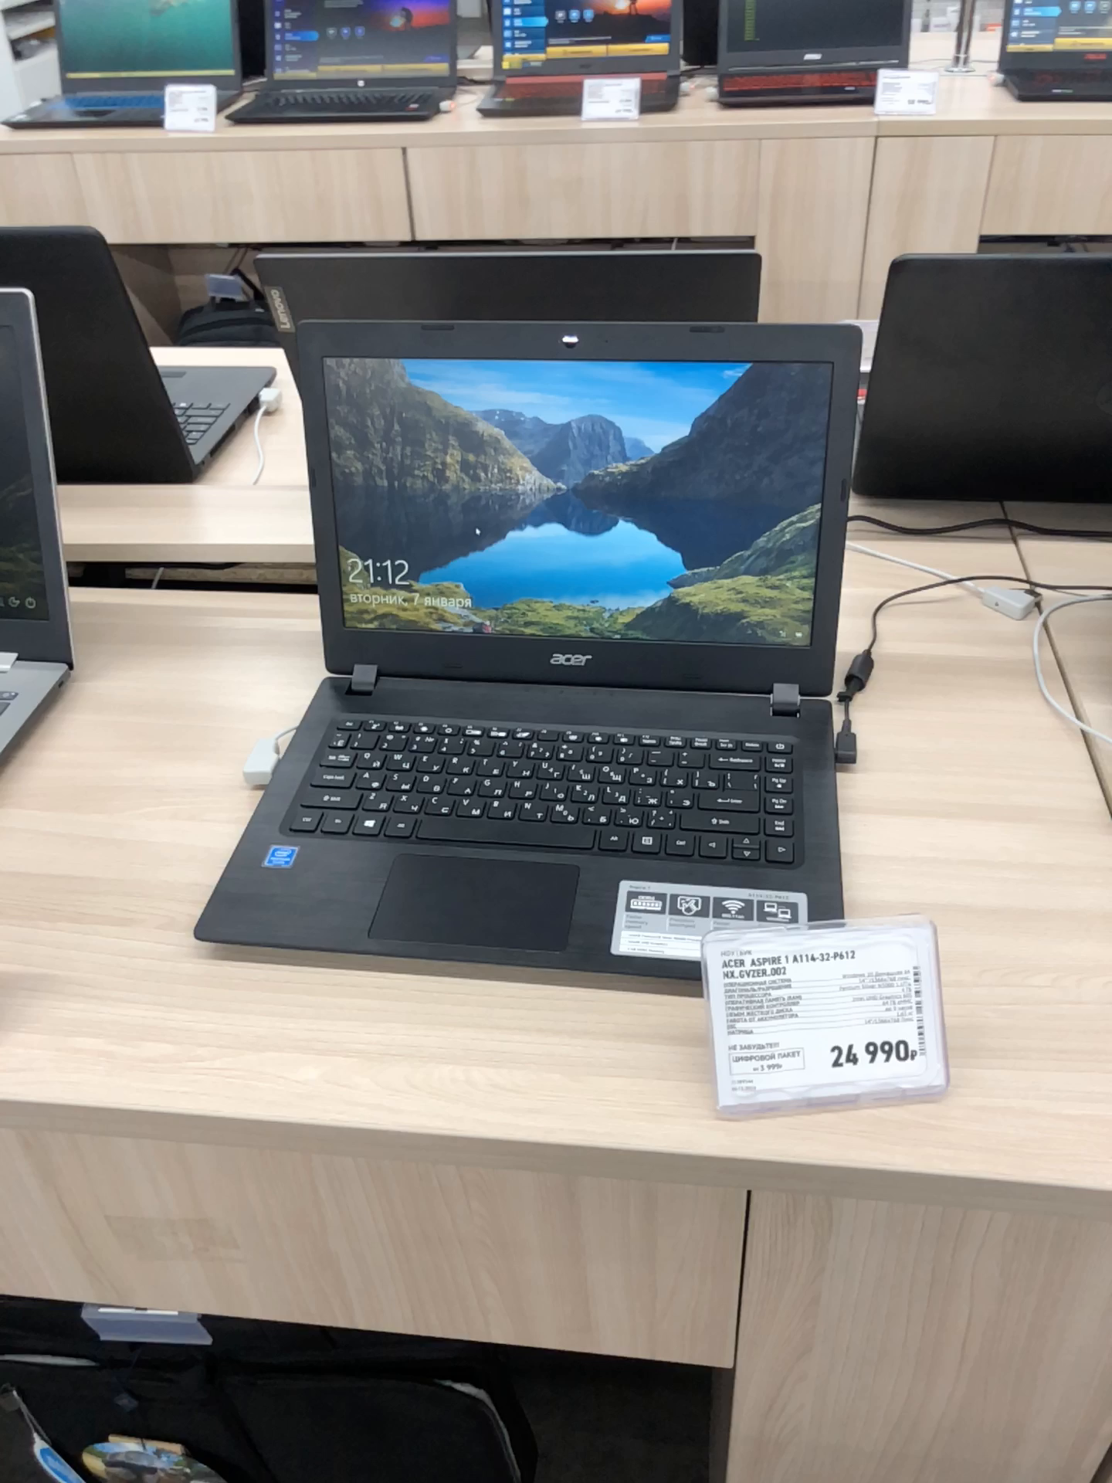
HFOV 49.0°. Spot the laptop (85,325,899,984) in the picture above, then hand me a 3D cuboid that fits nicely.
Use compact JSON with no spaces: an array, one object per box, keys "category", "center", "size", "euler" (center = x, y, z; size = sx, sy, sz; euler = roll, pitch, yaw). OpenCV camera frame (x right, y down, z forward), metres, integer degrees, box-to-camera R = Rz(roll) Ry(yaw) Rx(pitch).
[{"category":"laptop","center":[-0.008,-0.070,0.688],"size":[0.342,0.223,0.303],"euler":[3,37,8]}]

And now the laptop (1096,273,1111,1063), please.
[{"category":"laptop","center":[0.548,-0.073,0.637],"size":[0.379,0.216,0.378],"euler":[2,38,8]}]

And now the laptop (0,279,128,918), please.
[{"category":"laptop","center":[-0.546,-0.108,0.754],"size":[0.362,0.236,0.339],"euler":[4,38,9]}]
